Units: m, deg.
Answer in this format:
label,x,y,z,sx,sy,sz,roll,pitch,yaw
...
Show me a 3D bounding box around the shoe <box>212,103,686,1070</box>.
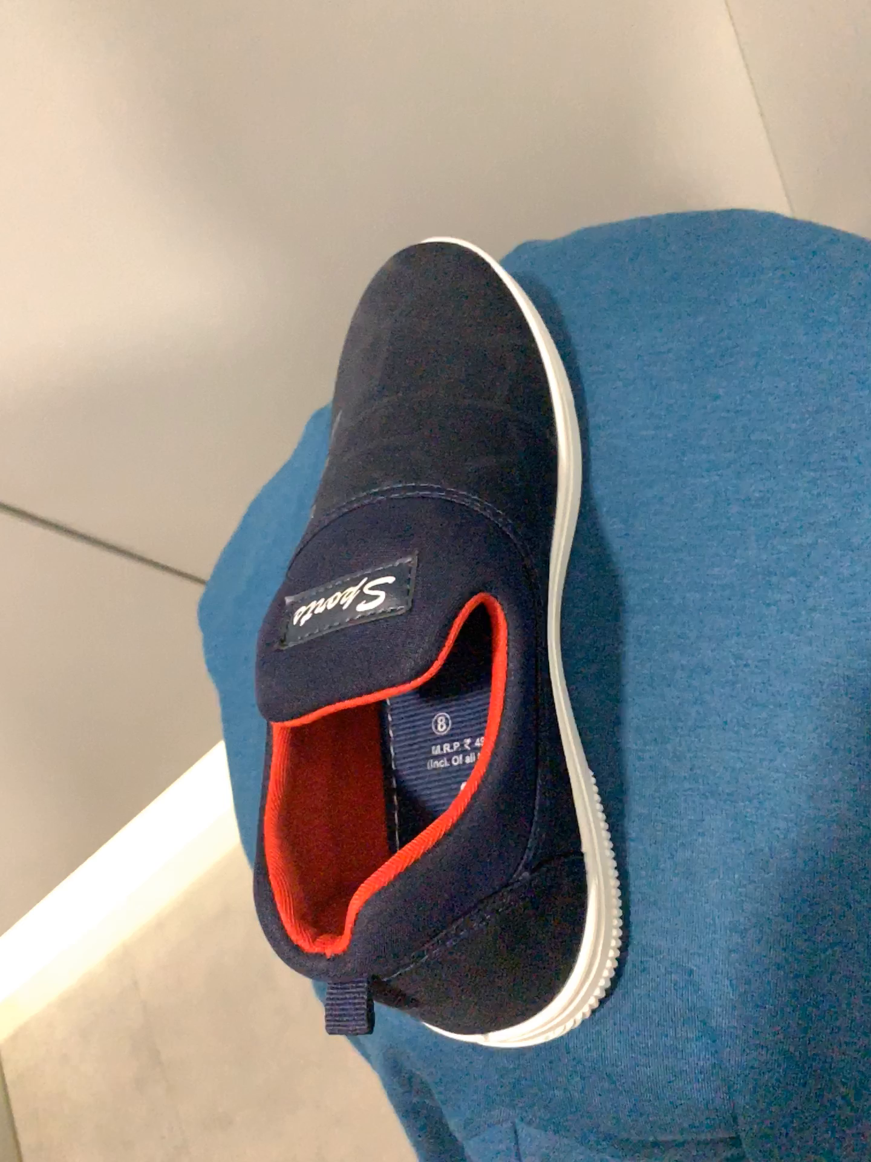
label,x,y,z,sx,sy,sz,roll,pitch,yaw
shoe,0.000,0.001,0.288,0.090,0.100,0.260,-16,67,27
